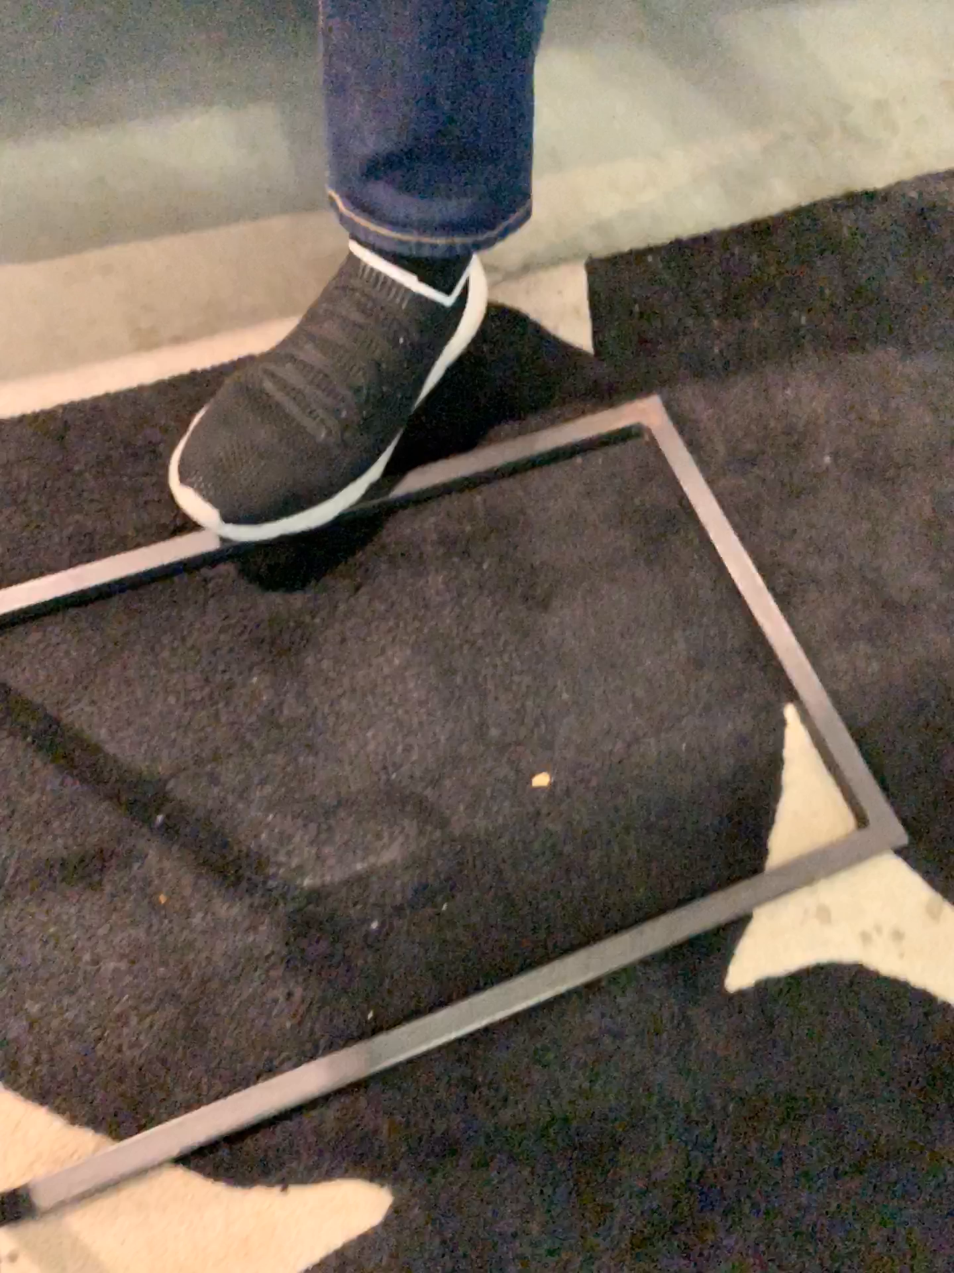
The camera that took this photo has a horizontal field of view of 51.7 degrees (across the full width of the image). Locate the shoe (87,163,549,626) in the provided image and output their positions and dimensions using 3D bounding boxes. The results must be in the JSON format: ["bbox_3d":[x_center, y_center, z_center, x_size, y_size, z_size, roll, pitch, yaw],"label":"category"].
[{"bbox_3d":[-0.089,-0.164,0.636,0.116,0.074,0.303,34,68,11],"label":"shoe"}]
